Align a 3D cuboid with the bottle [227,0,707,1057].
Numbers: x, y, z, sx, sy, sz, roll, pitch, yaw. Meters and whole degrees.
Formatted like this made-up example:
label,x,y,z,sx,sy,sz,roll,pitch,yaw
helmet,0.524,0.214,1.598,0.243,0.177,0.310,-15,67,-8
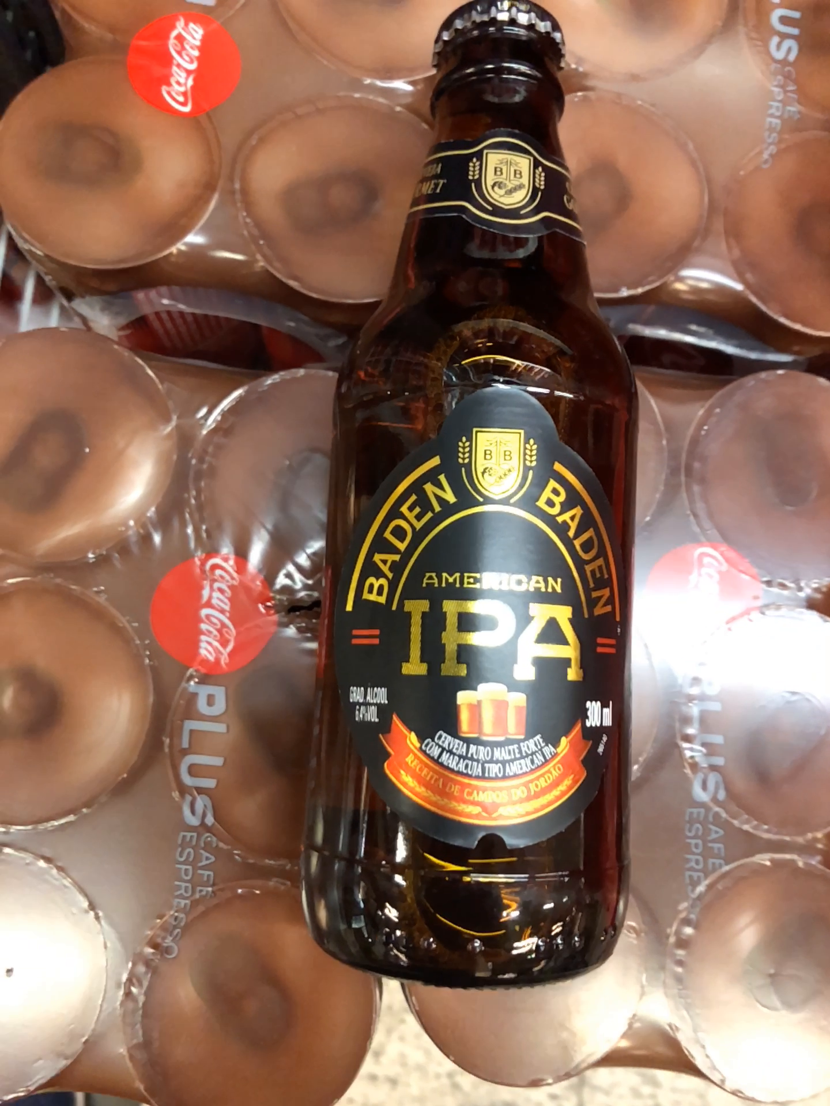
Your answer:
label,x,y,z,sx,sy,sz,roll,pitch,yaw
bottle,0.011,-0.028,0.175,0.070,0.050,0.210,3,82,-4
